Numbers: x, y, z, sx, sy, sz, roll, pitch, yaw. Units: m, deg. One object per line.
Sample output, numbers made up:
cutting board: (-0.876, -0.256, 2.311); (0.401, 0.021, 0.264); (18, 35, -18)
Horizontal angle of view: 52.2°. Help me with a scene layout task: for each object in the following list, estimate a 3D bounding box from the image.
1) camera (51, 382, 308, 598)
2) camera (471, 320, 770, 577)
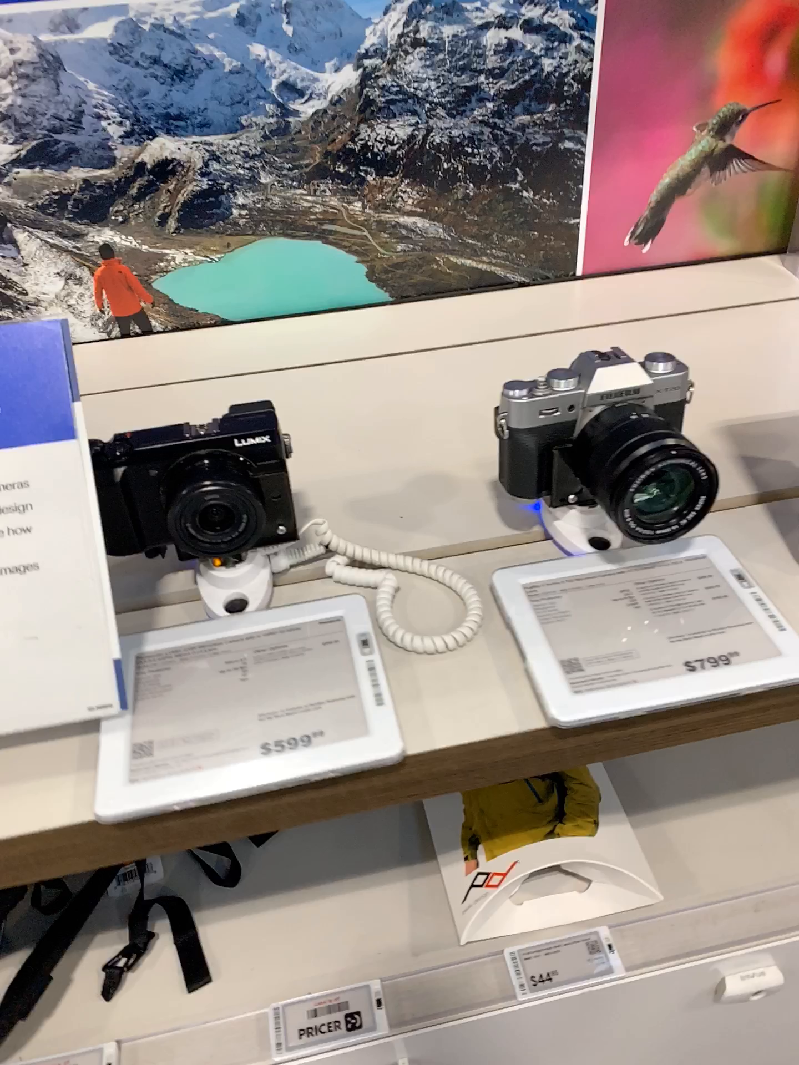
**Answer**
camera: (-0.121, -0.026, 0.466); (0.120, 0.079, 0.070); (-10, 39, -8)
camera: (0.117, -0.054, 0.474); (0.120, 0.079, 0.121); (-10, 39, -8)
